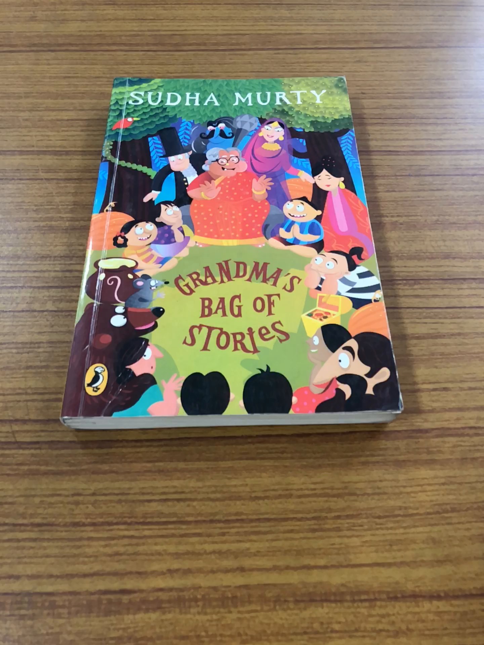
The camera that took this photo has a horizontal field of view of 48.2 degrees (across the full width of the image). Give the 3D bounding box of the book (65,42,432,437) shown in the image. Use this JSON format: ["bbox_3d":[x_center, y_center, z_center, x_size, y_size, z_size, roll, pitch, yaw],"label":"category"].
[{"bbox_3d":[0.000,-0.054,0.257,0.130,0.030,0.210,-1,60,0],"label":"book"}]
